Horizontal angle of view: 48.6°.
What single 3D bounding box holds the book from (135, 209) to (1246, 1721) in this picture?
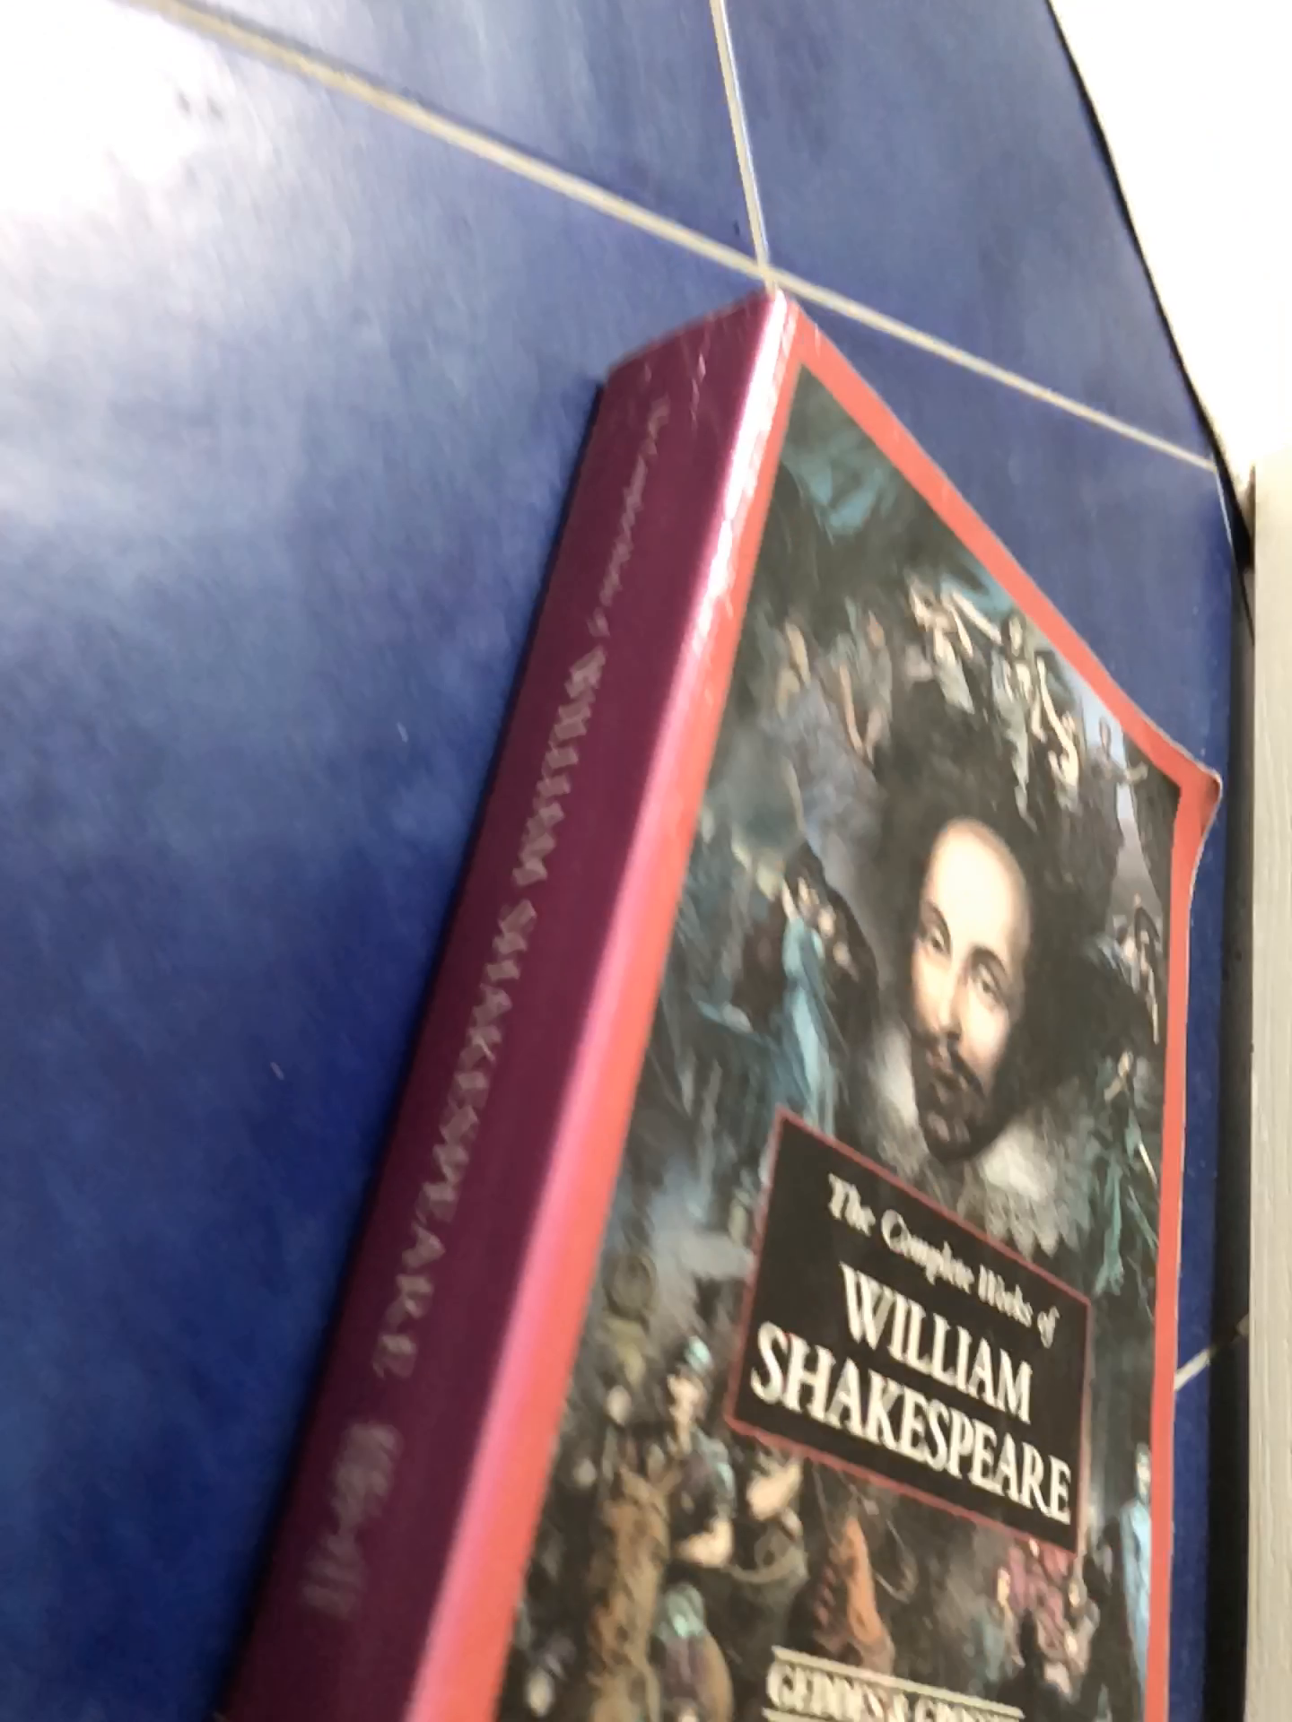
[{"bbox_3d":[0.051,0.044,0.296,0.211,0.060,0.271,36,54,-36],"label":"book"}]
